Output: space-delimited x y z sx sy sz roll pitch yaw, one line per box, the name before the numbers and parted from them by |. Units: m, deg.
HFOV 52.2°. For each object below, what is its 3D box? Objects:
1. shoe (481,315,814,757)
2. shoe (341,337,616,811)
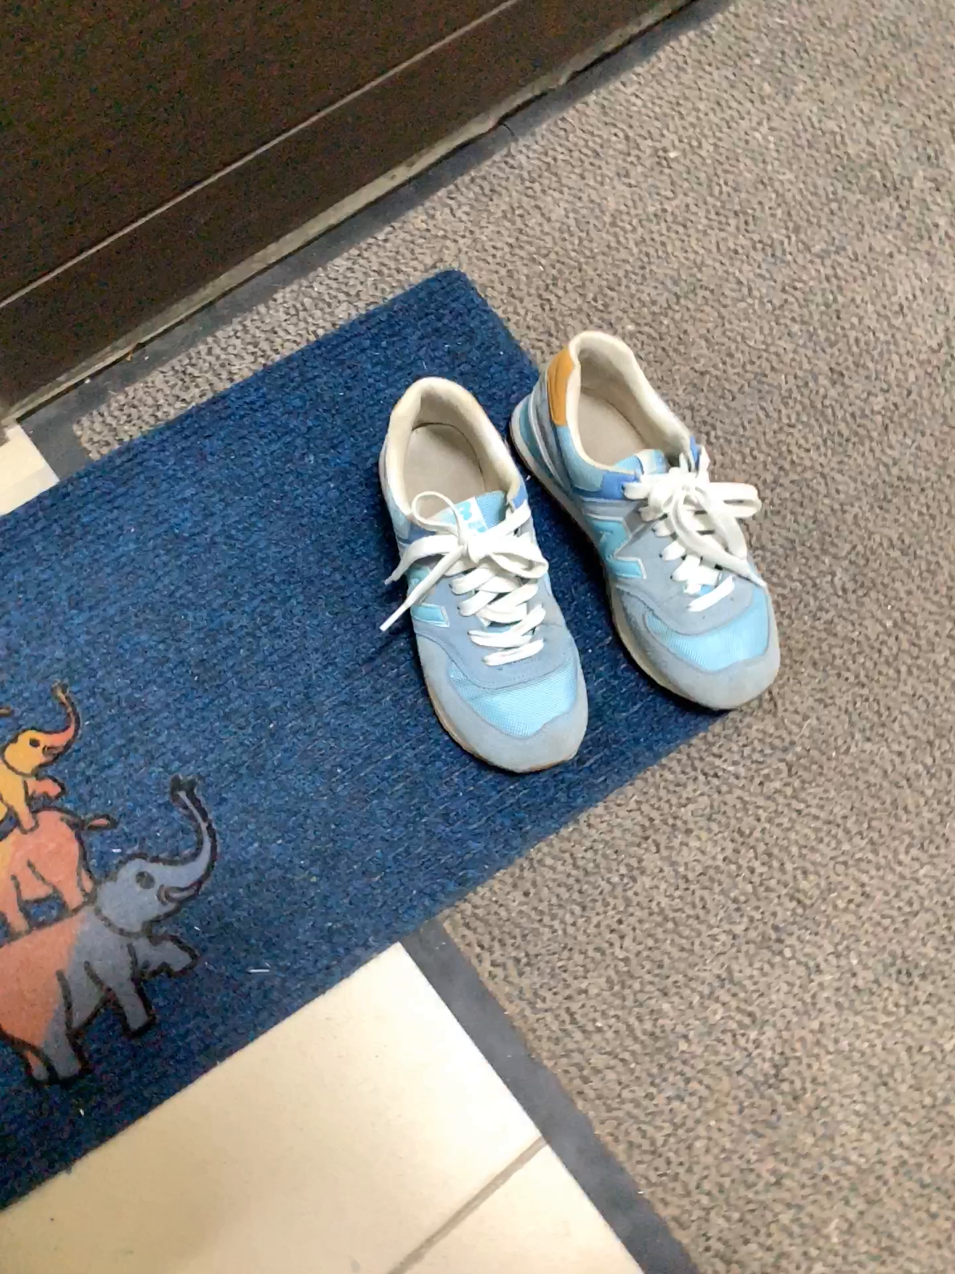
shoe | 0.099 -0.062 0.642 0.090 0.120 0.250 -25 76 -6
shoe | -0.011 -0.035 0.627 0.080 0.140 0.260 -16 74 -11
